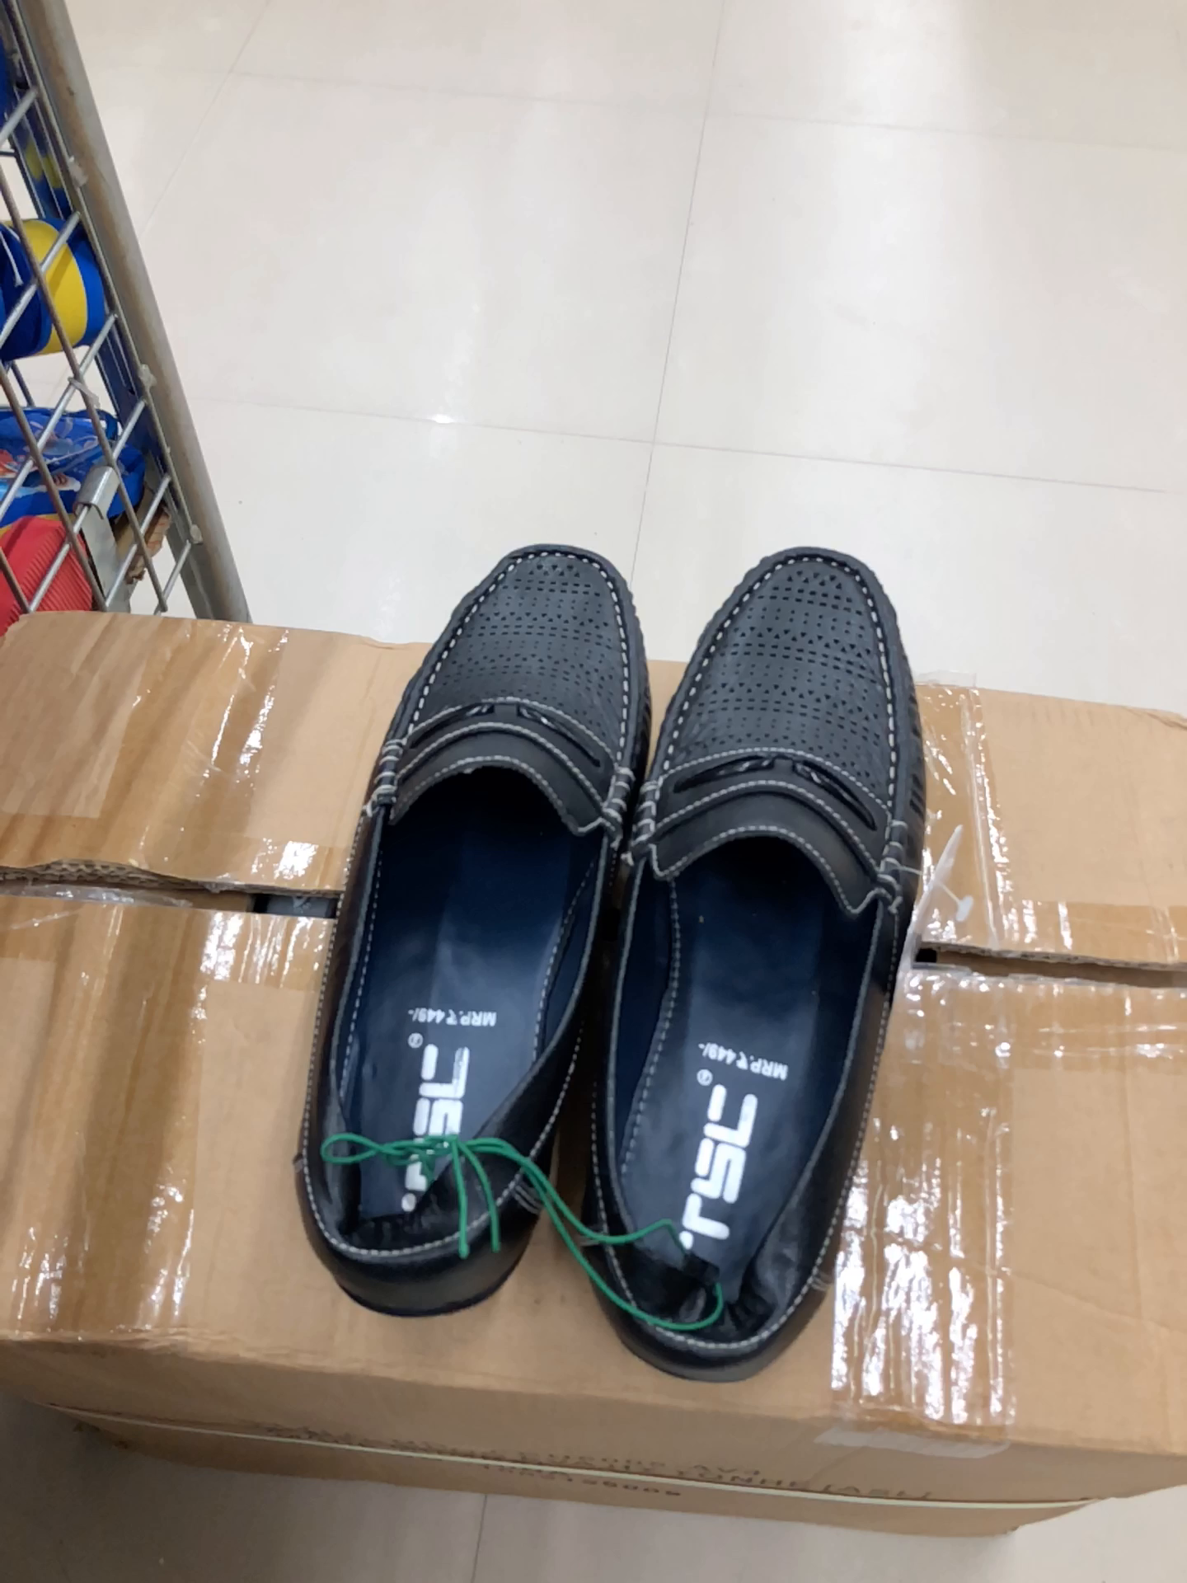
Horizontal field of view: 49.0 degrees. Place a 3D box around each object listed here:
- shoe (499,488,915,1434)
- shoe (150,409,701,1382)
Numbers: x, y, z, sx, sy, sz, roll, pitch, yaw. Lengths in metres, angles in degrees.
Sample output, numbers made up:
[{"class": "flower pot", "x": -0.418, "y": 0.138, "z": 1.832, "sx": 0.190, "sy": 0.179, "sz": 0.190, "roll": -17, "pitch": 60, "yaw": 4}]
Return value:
[{"class": "shoe", "x": 0.049, "y": 0.041, "z": 0.459, "sx": 0.100, "sy": 0.090, "sz": 0.311, "roll": 8, "pitch": 57, "yaw": 4}, {"class": "shoe", "x": -0.035, "y": 0.016, "z": 0.439, "sx": 0.100, "sy": 0.090, "sz": 0.311, "roll": 8, "pitch": 57, "yaw": 4}]
